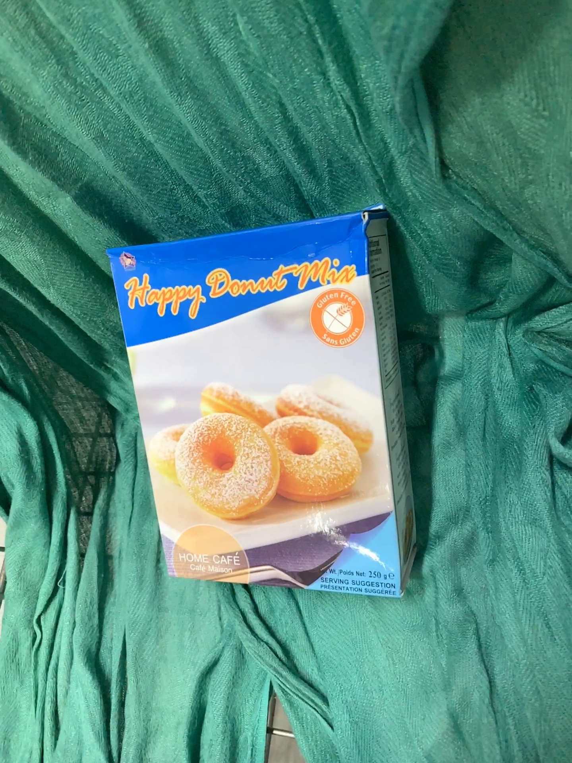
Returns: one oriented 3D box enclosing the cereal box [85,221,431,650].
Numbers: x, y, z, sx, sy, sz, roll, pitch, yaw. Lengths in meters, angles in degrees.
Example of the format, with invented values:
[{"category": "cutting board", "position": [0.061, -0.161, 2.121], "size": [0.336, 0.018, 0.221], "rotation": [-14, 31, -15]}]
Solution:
[{"category": "cereal box", "position": [-0.007, 0.024, 0.285], "size": [0.130, 0.060, 0.180], "rotation": [-3, 103, 21]}]
